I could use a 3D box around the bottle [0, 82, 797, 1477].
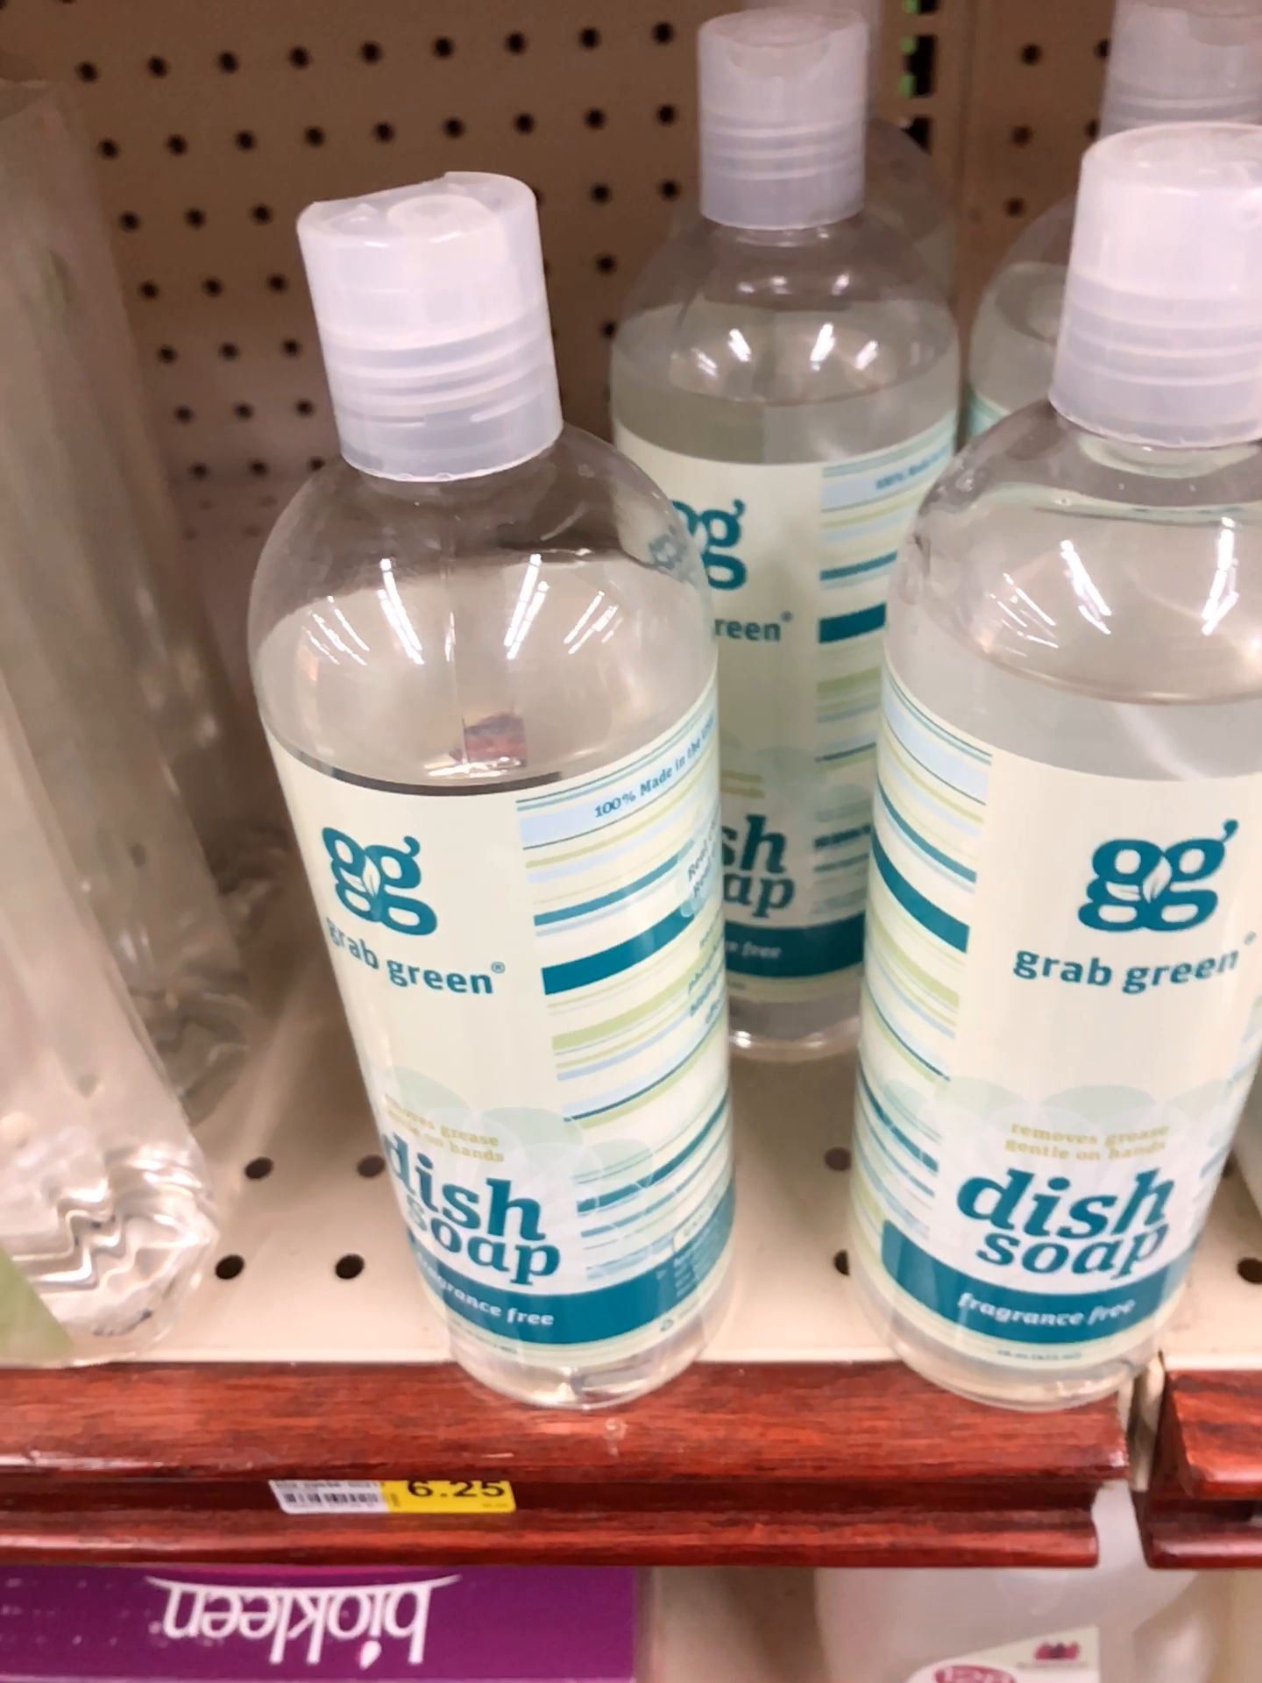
[{"bbox_3d":[-0.019,0.007,0.210,0.070,0.200,0.060,13,44,19],"label":"bottle"}]
